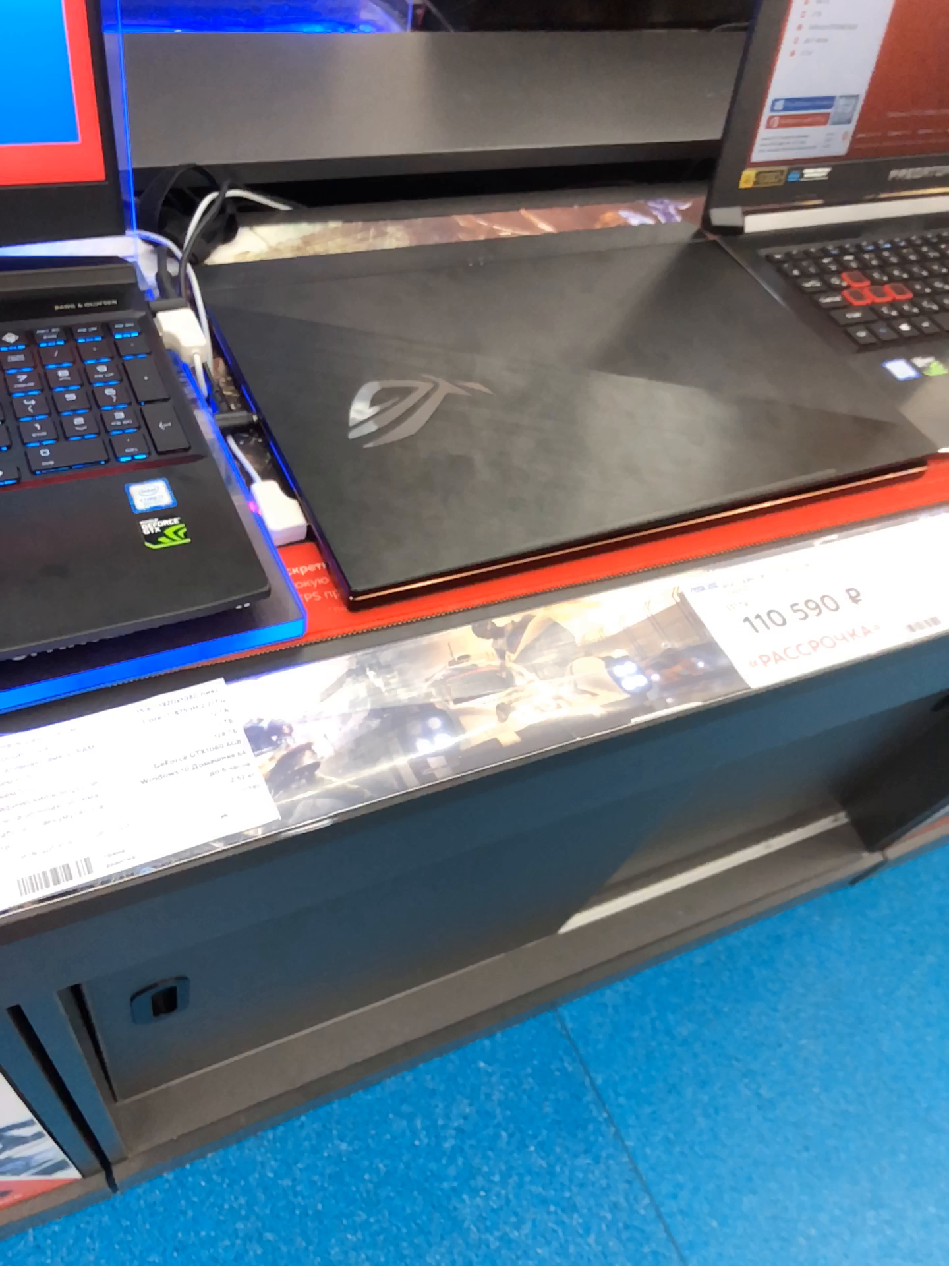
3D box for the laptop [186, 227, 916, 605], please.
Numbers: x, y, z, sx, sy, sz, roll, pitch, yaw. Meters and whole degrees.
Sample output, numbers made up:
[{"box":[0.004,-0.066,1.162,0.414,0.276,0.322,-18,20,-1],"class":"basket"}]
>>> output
[{"box":[0.043,-0.148,0.600,0.348,0.006,0.255,-14,55,-23],"class":"laptop"}]
